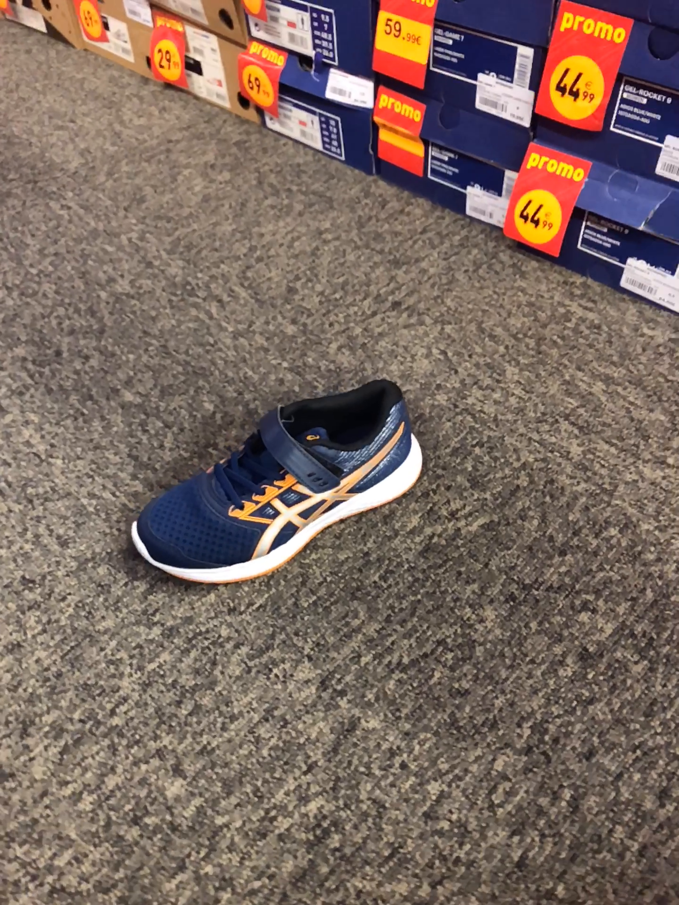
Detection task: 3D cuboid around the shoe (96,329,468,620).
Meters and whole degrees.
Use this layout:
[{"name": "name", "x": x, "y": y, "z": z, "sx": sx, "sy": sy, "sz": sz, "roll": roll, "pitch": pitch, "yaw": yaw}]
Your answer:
[{"name": "shoe", "x": -0.036, "y": 0.012, "z": 0.543, "sx": 0.236, "sy": 0.099, "sz": 0.090, "roll": -22, "pitch": 51, "yaw": -16}]
